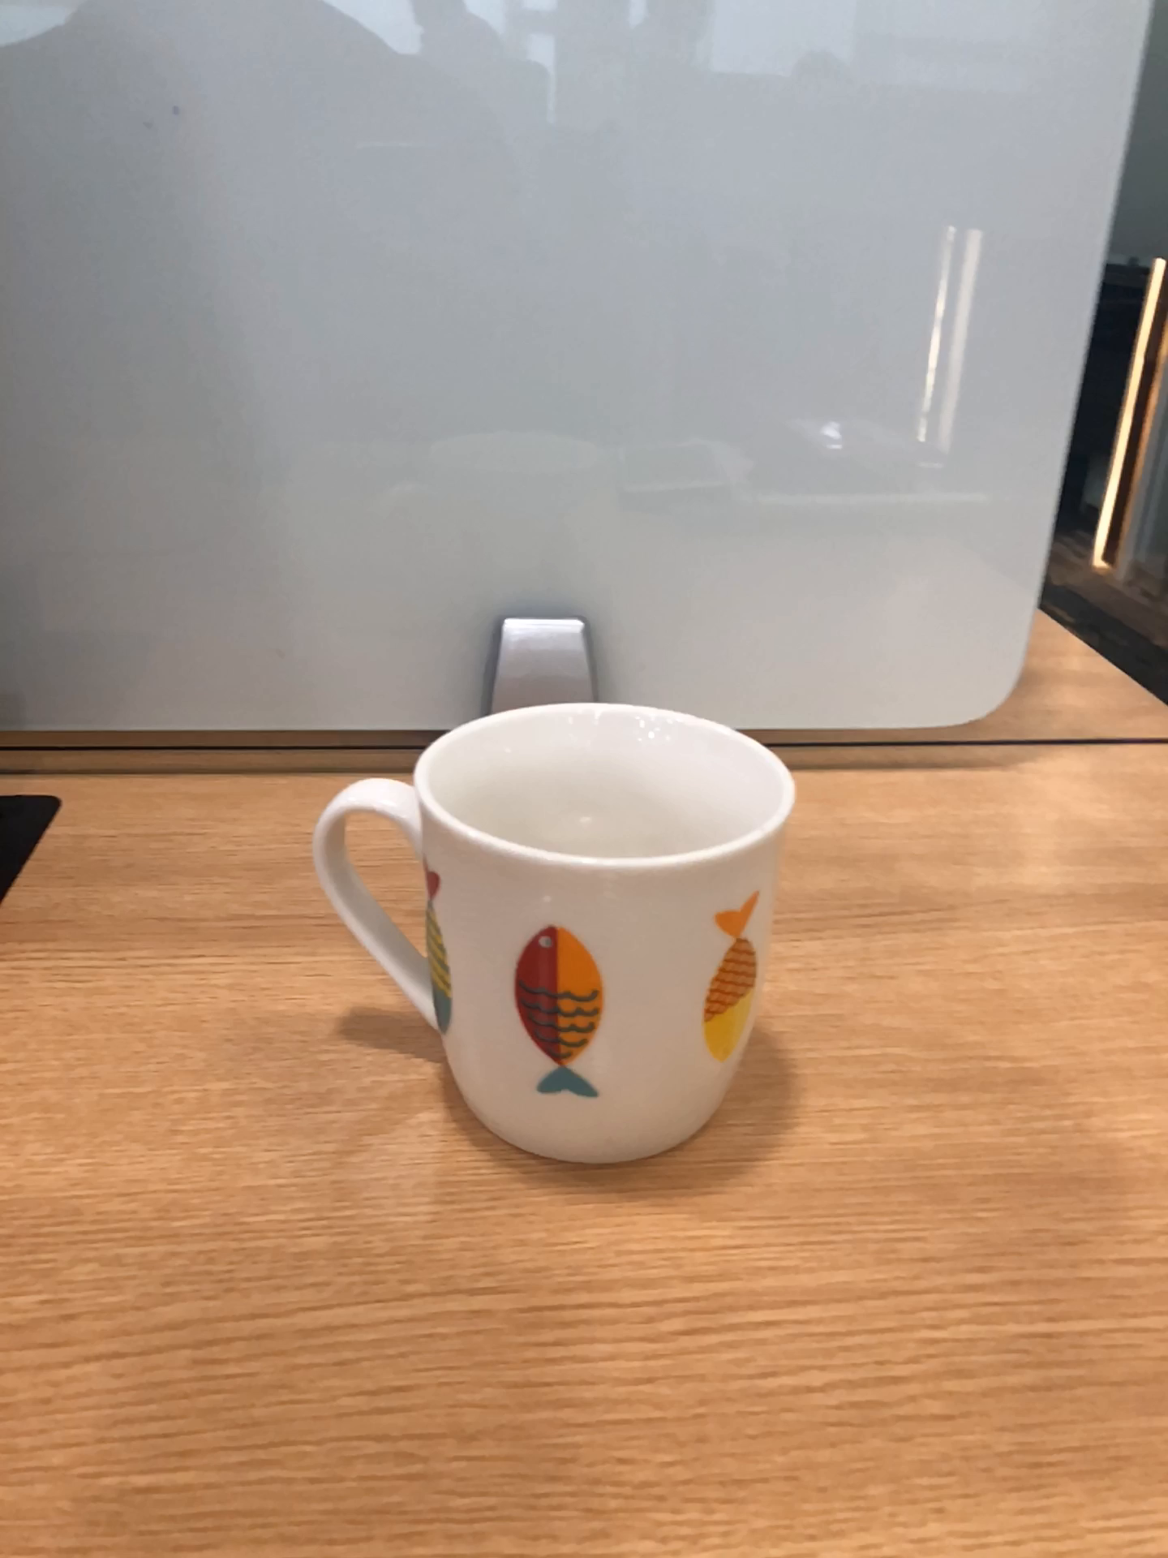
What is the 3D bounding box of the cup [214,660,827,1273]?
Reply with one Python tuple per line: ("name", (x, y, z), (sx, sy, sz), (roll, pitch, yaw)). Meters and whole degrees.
("cup", (-0.009, 0.035, 0.287), (0.110, 0.090, 0.080), (8, 25, 11))
